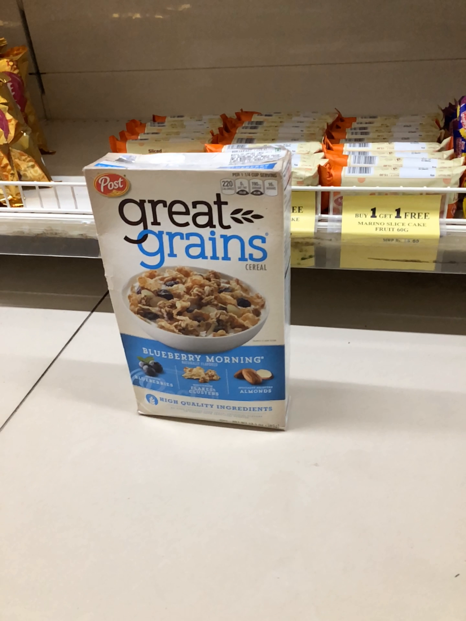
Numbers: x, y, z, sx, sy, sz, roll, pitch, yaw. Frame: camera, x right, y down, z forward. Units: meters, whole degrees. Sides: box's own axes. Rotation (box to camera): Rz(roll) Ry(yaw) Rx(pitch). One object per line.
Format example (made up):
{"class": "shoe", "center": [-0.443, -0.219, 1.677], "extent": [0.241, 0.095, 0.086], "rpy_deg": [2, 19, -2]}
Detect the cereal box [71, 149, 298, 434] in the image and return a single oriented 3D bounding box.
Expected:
{"class": "cereal box", "center": [-0.028, -0.010, 0.474], "extent": [0.170, 0.258, 0.060], "rpy_deg": [3, 33, 12]}
